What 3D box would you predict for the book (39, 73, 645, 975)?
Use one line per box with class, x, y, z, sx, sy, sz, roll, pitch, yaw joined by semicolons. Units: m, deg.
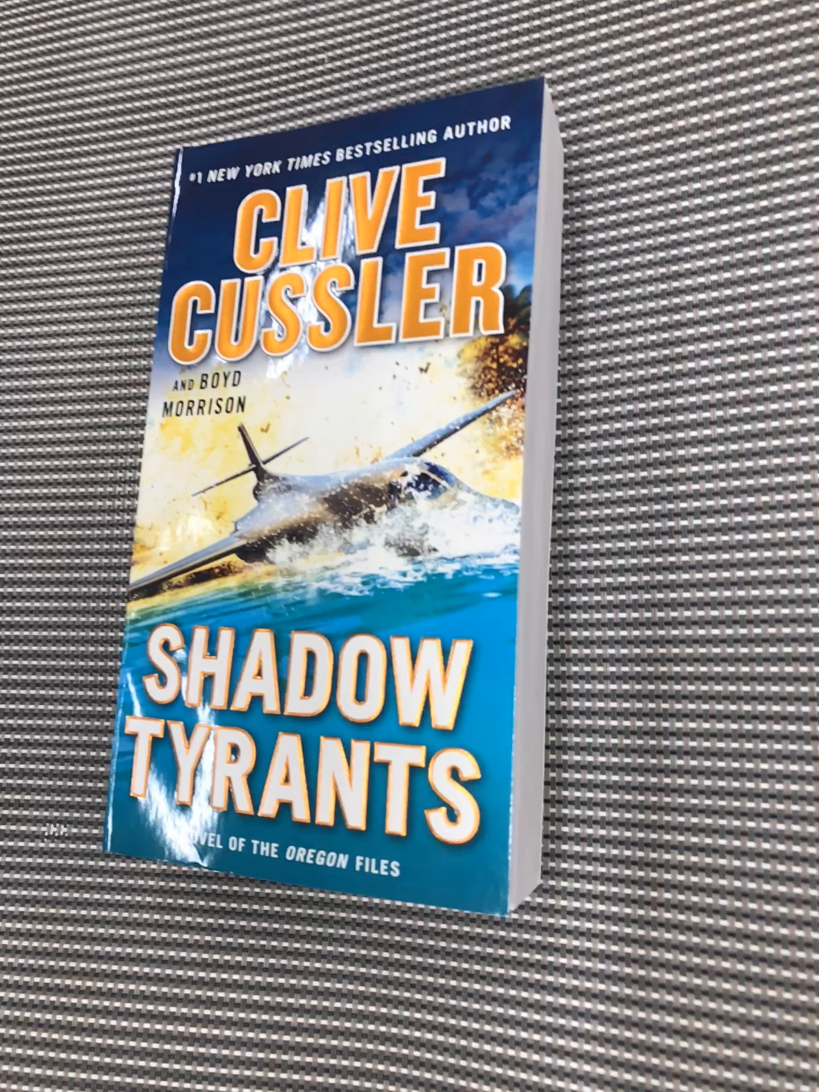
book;-0.011;-0.008;0.227;0.120;0.060;0.180;2;82;21
